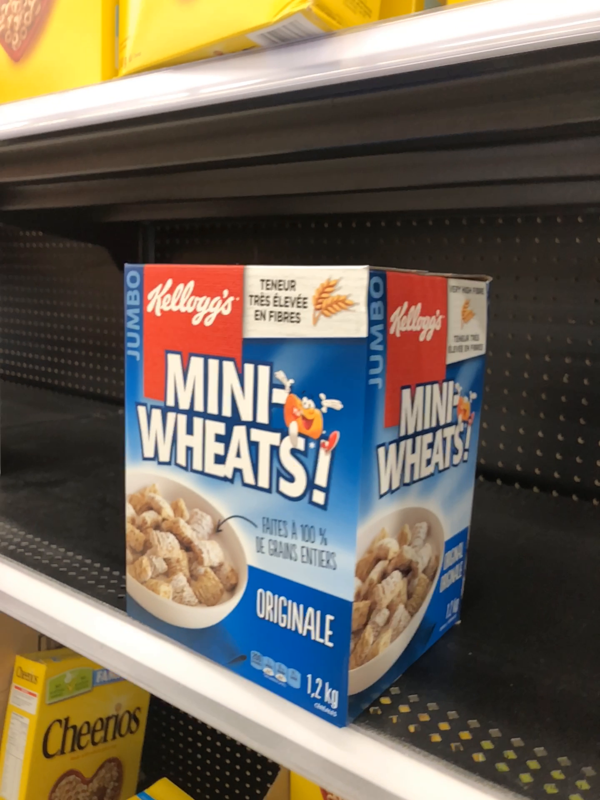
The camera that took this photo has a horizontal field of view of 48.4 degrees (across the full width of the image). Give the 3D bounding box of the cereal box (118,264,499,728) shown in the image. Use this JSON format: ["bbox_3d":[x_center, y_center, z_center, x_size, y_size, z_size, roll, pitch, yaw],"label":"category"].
[{"bbox_3d":[0.003,0.035,0.476,0.200,0.249,0.170,9,11,37],"label":"cereal box"}]
